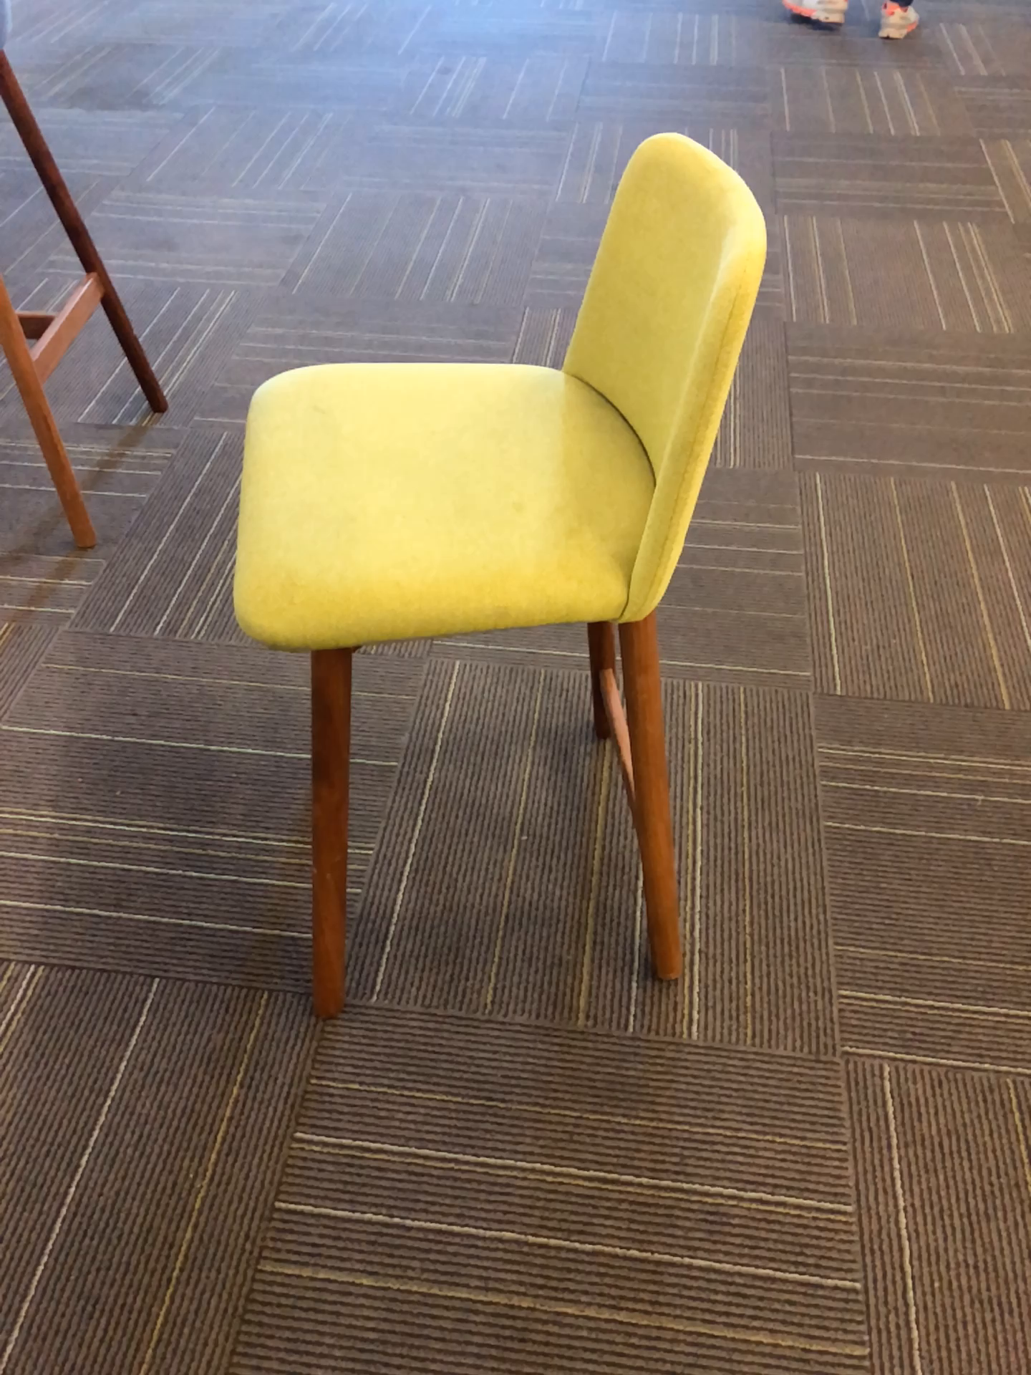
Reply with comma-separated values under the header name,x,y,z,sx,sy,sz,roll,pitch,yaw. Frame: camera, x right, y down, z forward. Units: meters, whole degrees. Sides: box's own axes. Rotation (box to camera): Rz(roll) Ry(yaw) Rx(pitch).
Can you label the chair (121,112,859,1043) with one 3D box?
name,x,y,z,sx,sy,sz,roll,pitch,yaw
chair,-0.036,-0.074,1.248,0.510,0.876,0.462,-6,44,-5
